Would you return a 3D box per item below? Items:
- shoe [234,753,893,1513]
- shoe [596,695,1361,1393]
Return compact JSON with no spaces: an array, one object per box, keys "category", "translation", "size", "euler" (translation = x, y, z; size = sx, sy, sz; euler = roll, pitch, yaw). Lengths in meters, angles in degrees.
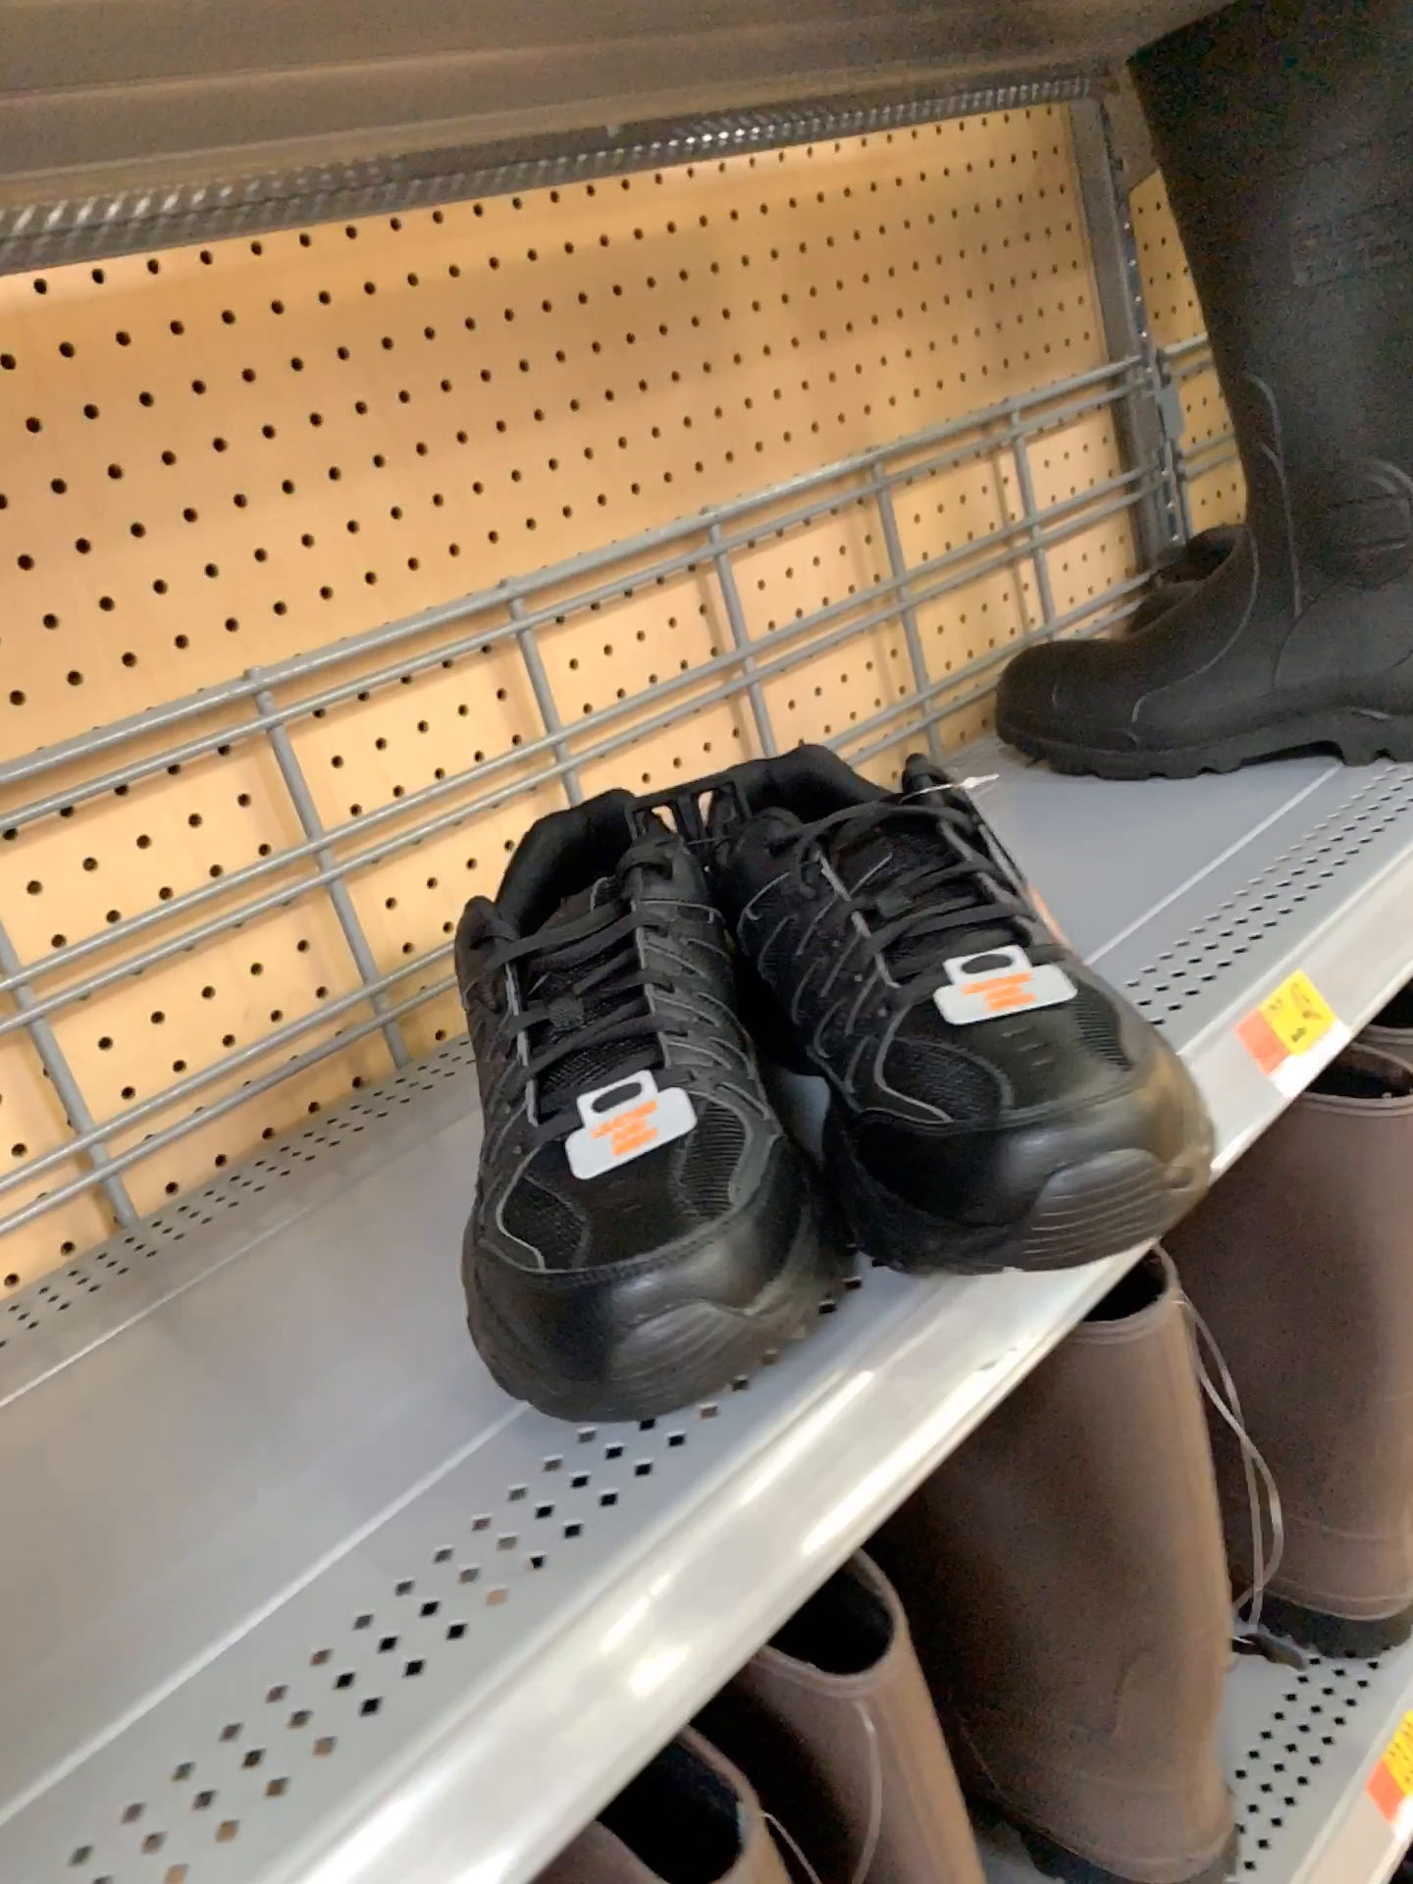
[{"category":"shoe","translation":[-0.045,0.034,0.503],"size":[0.139,0.104,0.298],"euler":[-16,20,1]},{"category":"shoe","translation":[0.064,0.004,0.502],"size":[0.135,0.104,0.298],"euler":[-19,20,-7]}]
